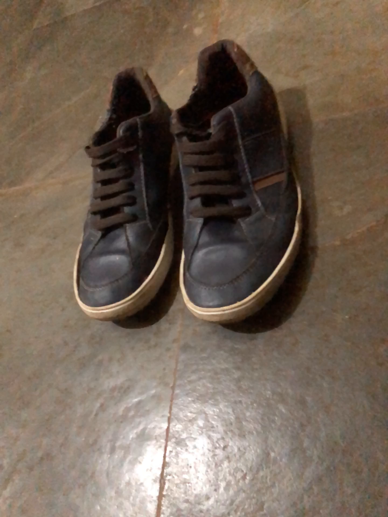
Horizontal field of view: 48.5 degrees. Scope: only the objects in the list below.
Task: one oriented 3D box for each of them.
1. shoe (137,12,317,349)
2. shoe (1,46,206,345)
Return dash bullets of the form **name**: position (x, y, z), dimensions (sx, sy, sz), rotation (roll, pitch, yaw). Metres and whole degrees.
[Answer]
- **shoe**: position (0.041, -0.075, 0.397), dimensions (0.110, 0.099, 0.291), rotation (-7, 60, 23)
- **shoe**: position (-0.075, -0.067, 0.450), dimensions (0.120, 0.099, 0.291), rotation (-6, 60, 23)
